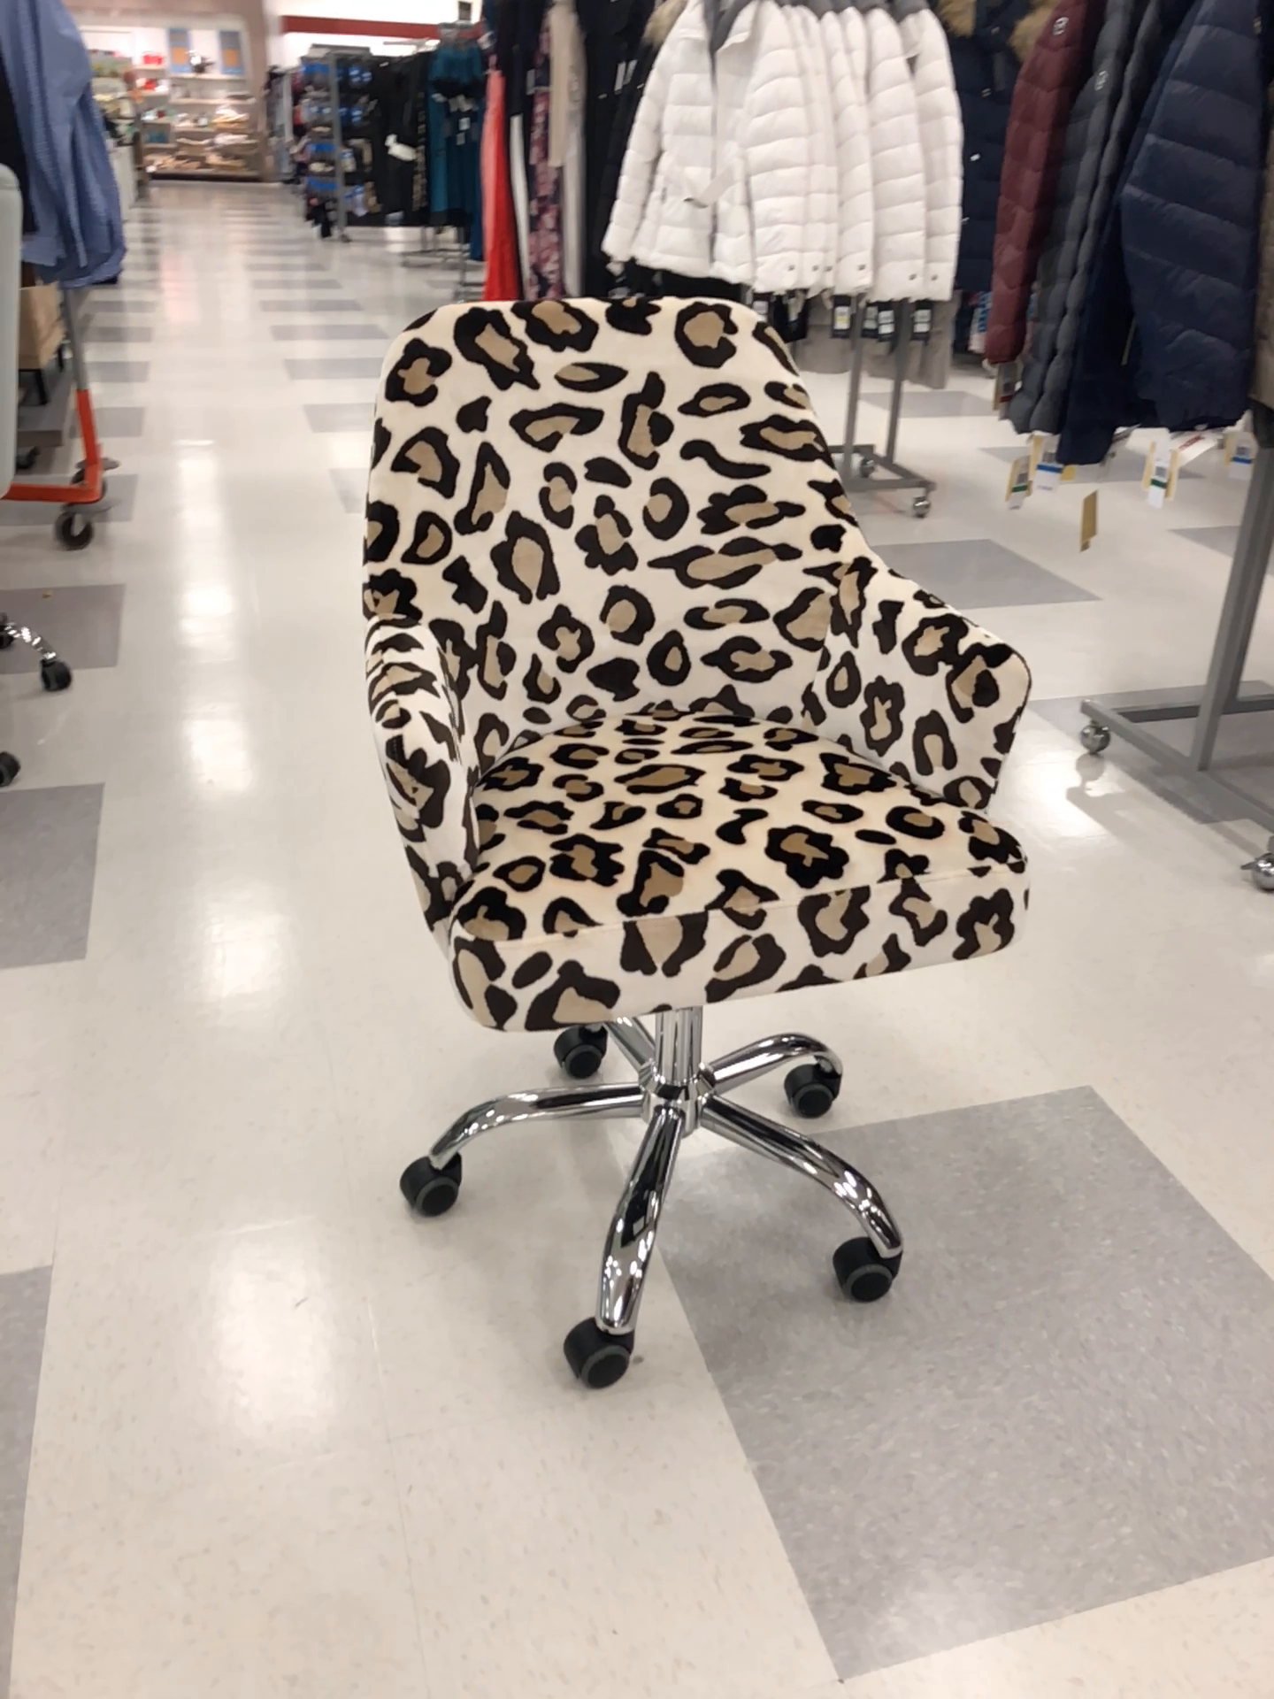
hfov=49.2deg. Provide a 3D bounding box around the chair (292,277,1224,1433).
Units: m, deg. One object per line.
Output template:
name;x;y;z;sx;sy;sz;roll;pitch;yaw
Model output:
chair;0.034;-0.049;1.352;0.600;0.888;0.581;-7;28;-17
